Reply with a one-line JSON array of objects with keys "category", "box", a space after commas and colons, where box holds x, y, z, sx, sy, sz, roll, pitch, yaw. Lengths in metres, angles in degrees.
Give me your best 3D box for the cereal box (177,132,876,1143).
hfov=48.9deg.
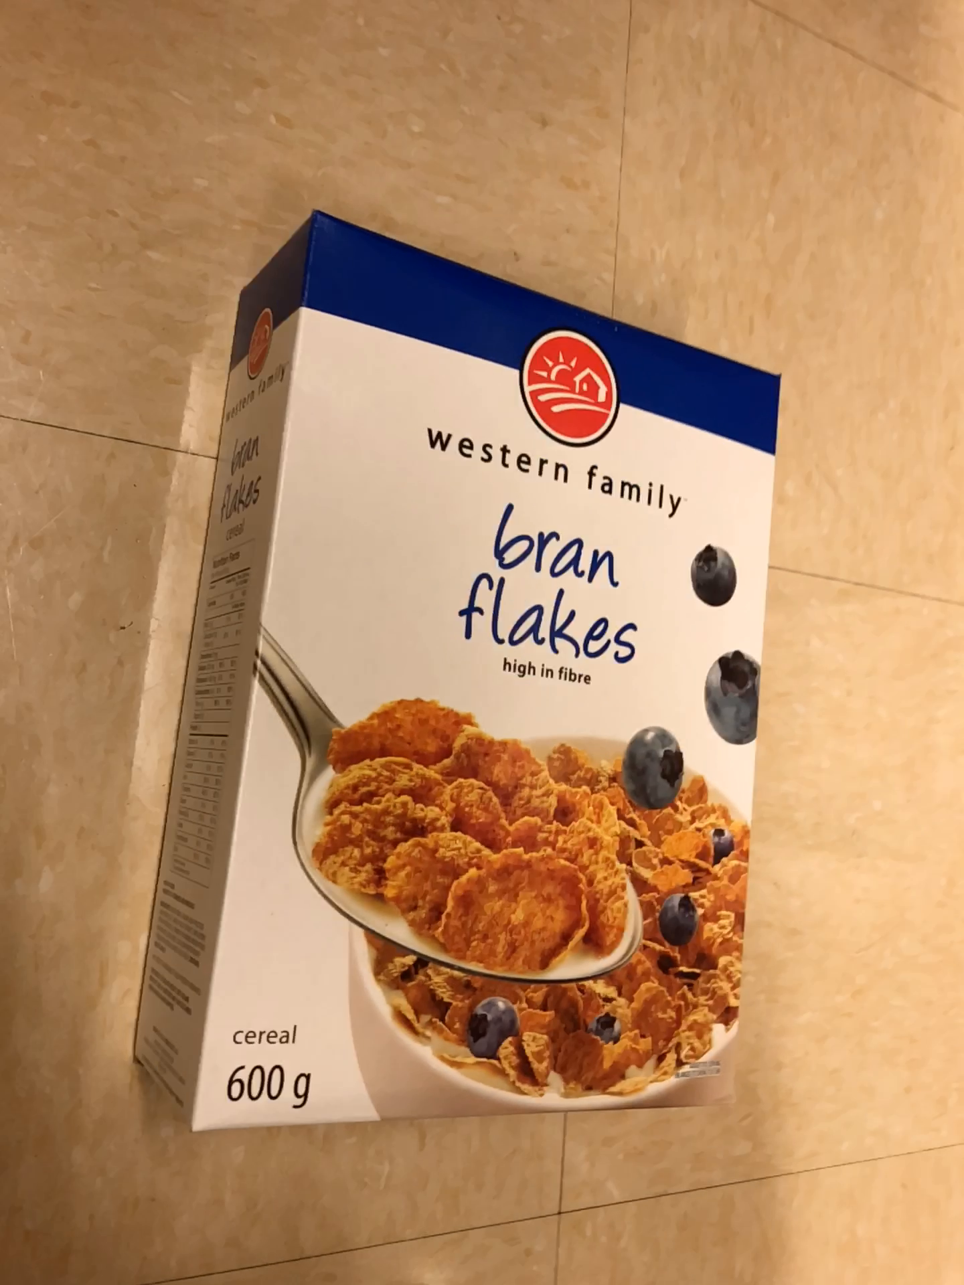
[{"category": "cereal box", "box": [0.027, 0.009, 0.402, 0.220, 0.090, 0.300, 10, 82, -28]}]
